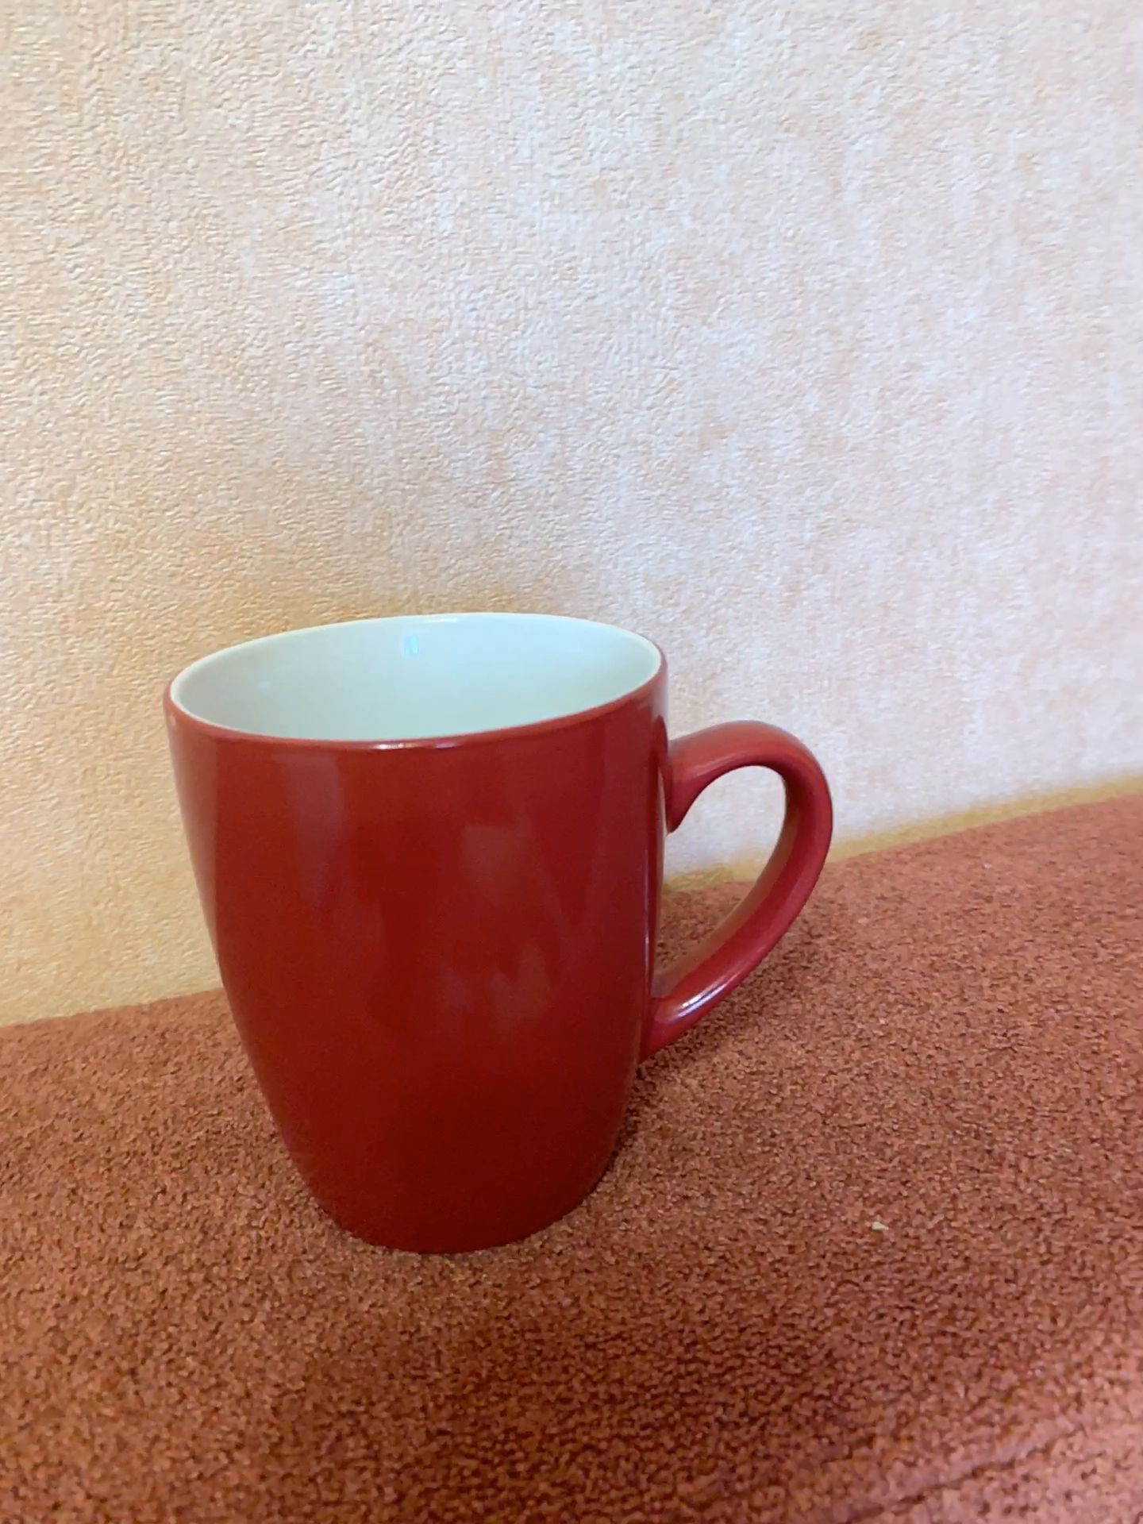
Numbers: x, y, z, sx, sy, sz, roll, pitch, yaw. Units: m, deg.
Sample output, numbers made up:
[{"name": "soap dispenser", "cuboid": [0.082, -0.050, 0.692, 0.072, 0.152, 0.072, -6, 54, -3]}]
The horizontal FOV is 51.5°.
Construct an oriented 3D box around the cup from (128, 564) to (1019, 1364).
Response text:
[{"name": "cup", "cuboid": [-0.002, 0.024, 0.210, 0.121, 0.091, 0.083, -8, 21, -12]}]
